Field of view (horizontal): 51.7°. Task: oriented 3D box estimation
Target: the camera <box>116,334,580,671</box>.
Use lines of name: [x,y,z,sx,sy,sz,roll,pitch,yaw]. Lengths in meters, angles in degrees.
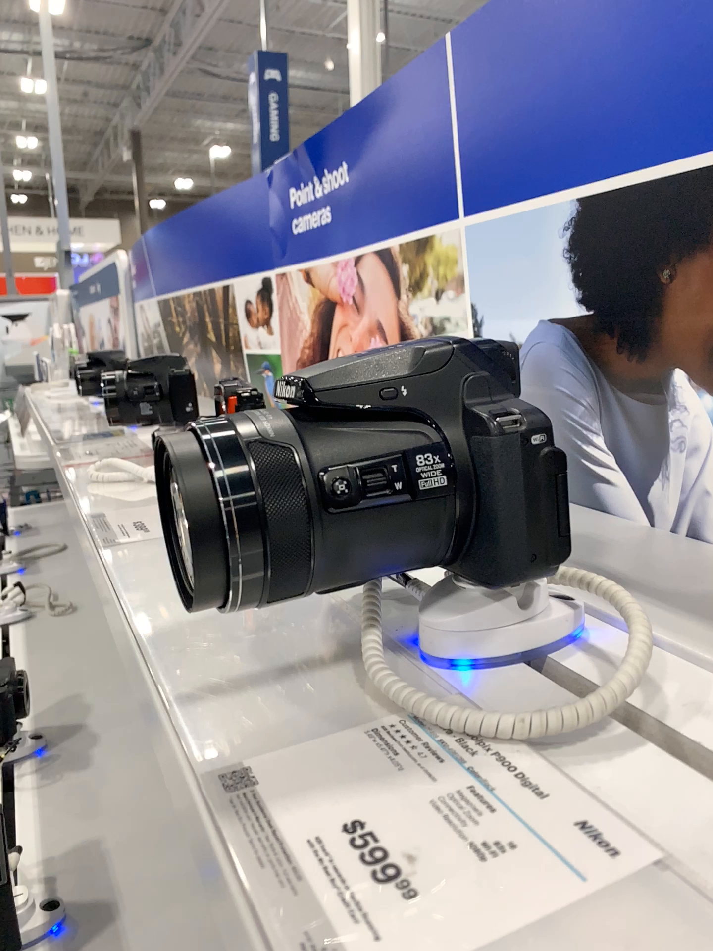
camera: [-0.012,-0.007,0.322,0.153,0.100,0.140,-7,13,-24]
